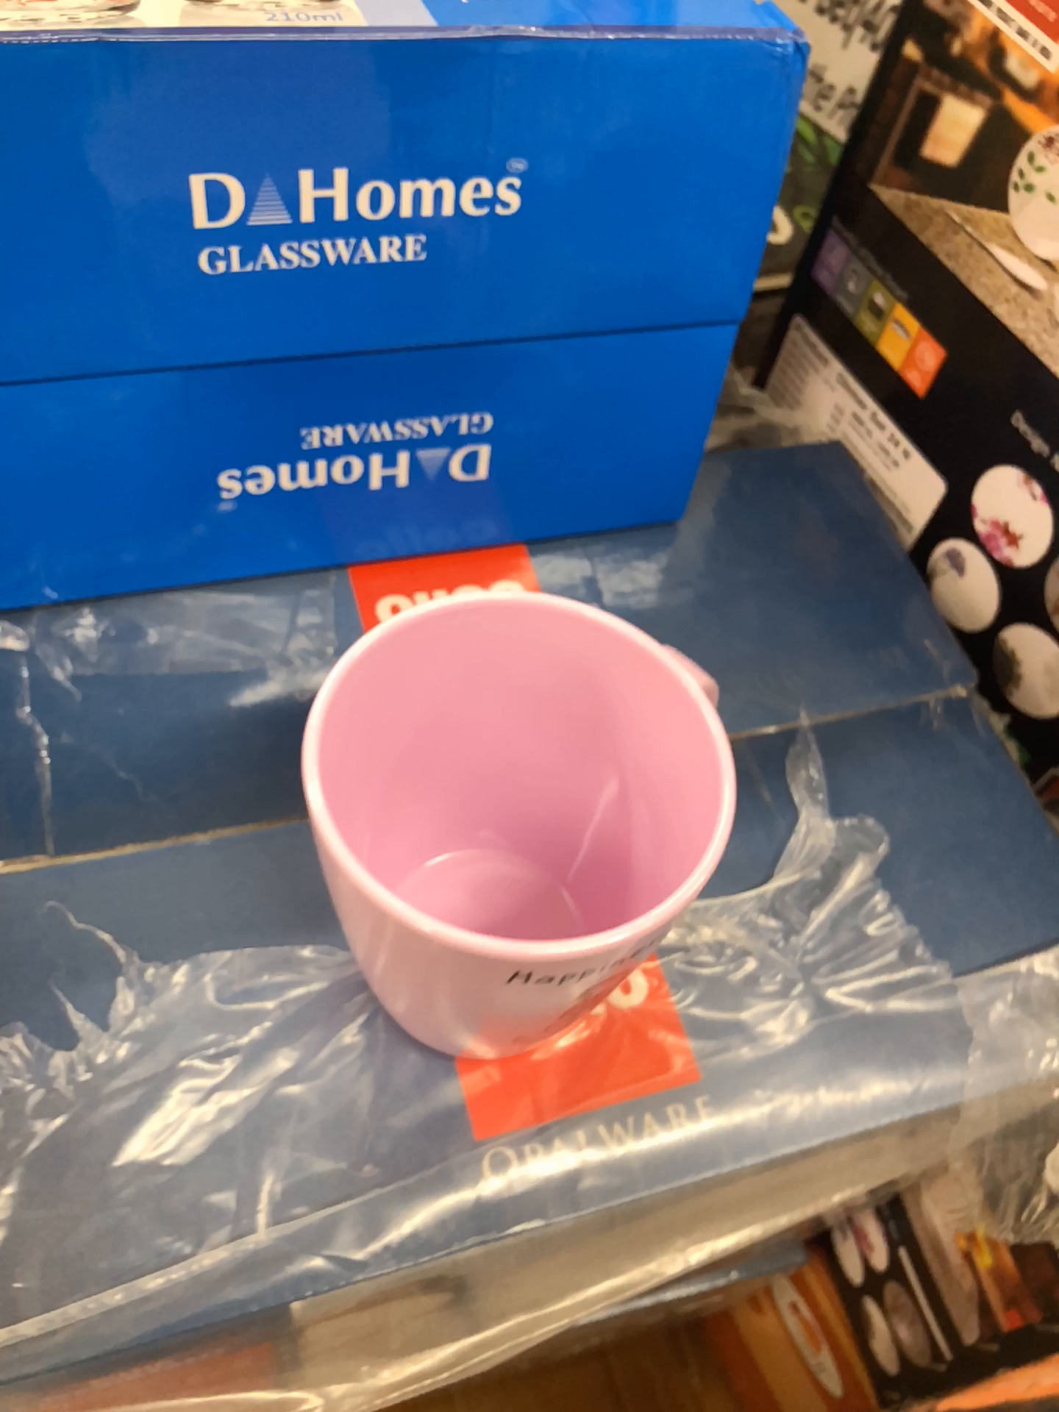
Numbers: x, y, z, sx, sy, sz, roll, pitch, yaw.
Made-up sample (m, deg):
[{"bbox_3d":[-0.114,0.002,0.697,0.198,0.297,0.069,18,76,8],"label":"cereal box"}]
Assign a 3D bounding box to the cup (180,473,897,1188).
[{"bbox_3d":[-0.003,0.027,0.269,0.110,0.090,0.090,-28,65,-26],"label":"cup"}]
